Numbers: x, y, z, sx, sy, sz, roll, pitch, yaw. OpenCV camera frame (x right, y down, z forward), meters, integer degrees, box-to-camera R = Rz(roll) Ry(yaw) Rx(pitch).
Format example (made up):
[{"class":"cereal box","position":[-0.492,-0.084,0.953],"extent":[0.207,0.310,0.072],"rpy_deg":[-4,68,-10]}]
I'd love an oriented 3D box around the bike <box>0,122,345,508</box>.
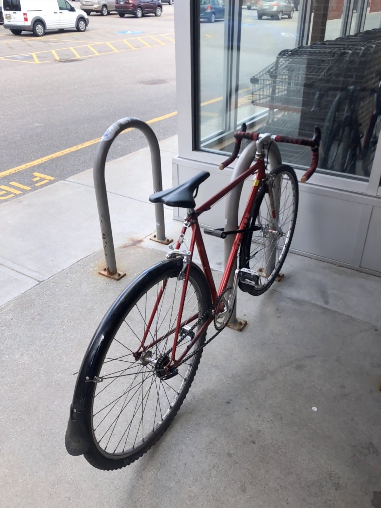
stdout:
[{"class":"bike","position":[0.136,0.091,1.765],"extent":[0.458,0.787,1.698],"rpy_deg":[17,38,27]}]
